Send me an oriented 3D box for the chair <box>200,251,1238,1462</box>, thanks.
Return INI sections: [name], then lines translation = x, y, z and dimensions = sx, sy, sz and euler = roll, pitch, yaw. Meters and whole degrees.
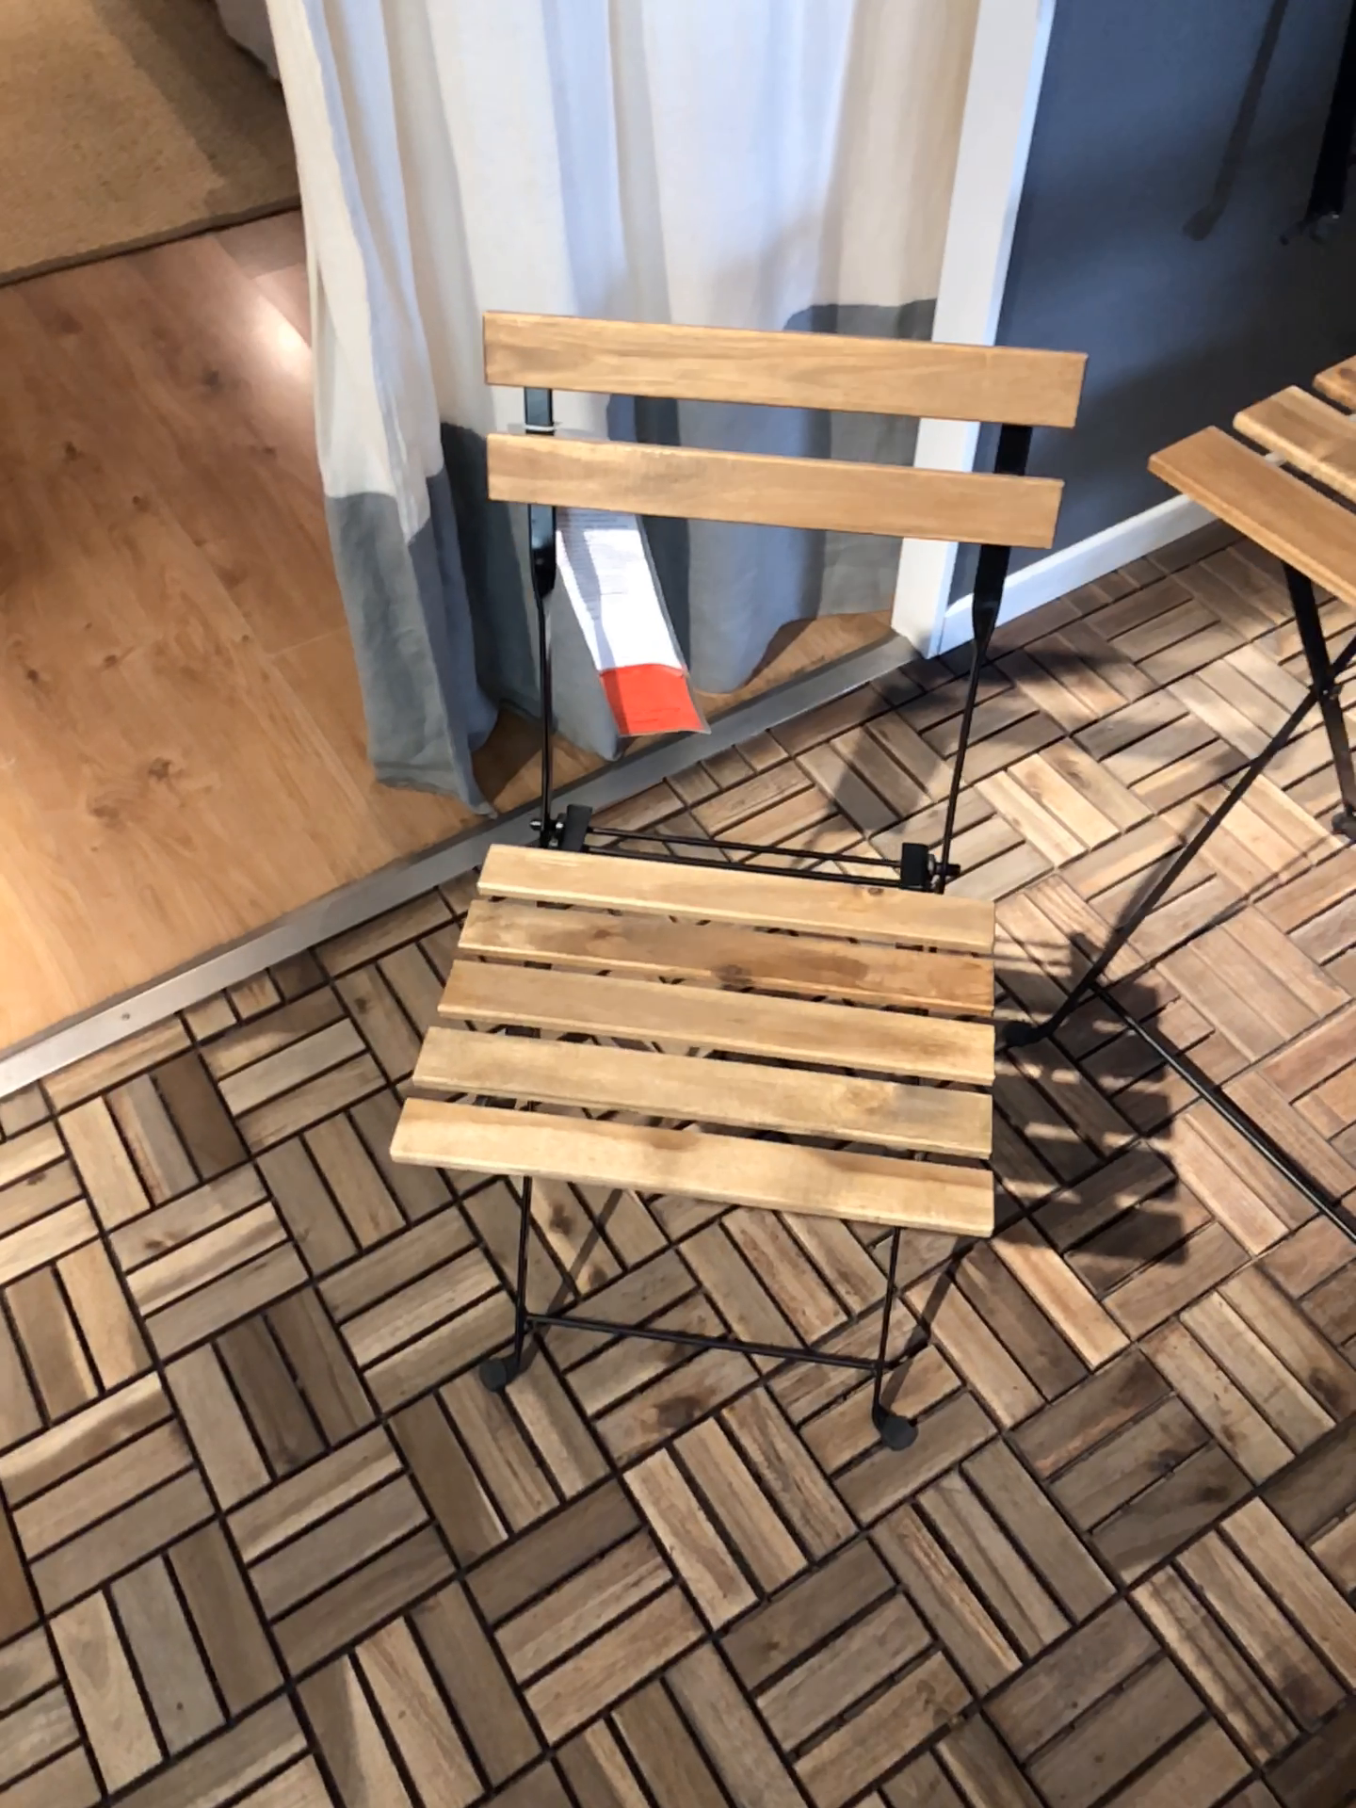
[chair]
translation = 0.044, 0.023, 1.028
dimensions = 0.430, 0.726, 0.432
euler = 7, 53, 6
